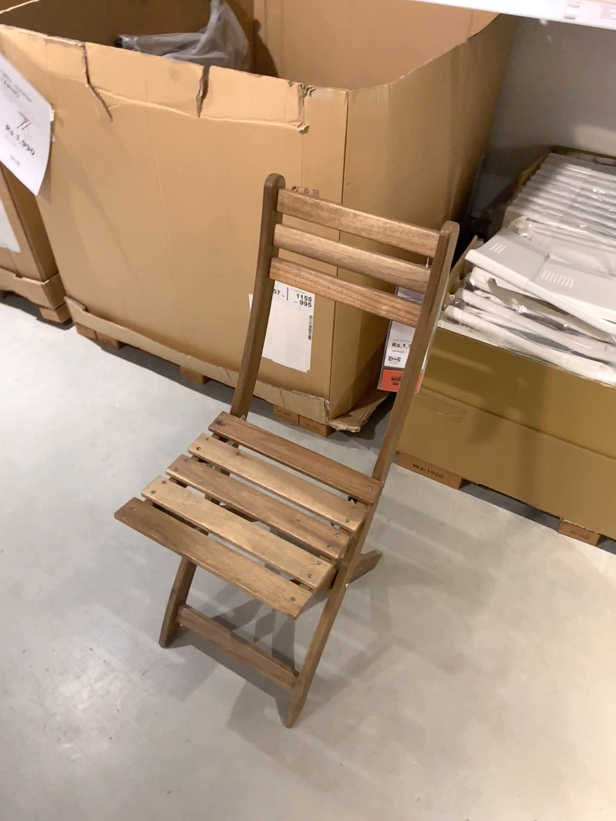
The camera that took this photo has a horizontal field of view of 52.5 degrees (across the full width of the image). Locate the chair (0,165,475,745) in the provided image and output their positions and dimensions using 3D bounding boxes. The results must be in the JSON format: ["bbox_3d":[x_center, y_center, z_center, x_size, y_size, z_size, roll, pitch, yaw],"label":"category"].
[{"bbox_3d":[-0.065,0.089,1.076,0.401,0.767,0.511,22,47,21],"label":"chair"}]
